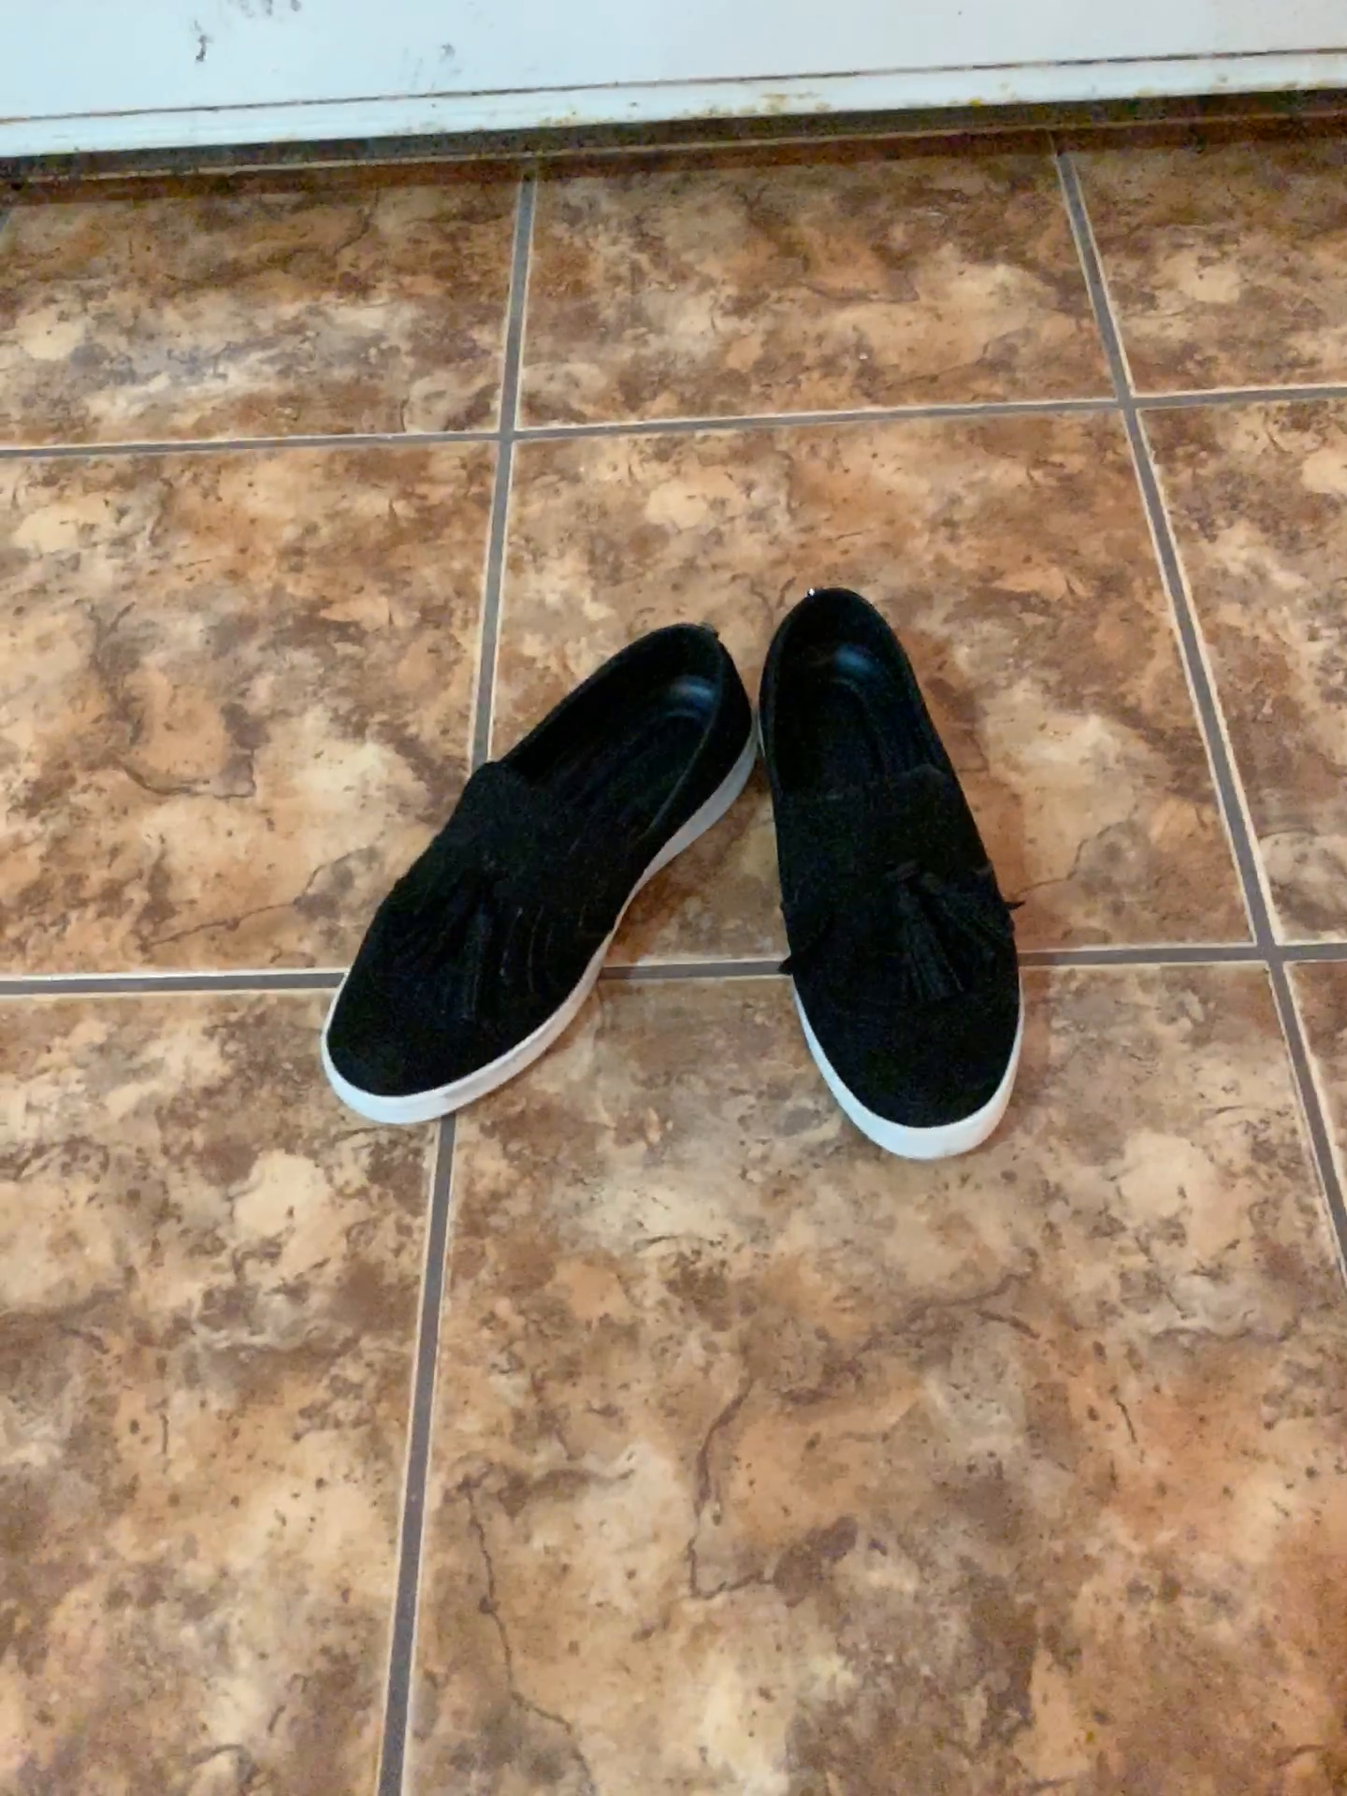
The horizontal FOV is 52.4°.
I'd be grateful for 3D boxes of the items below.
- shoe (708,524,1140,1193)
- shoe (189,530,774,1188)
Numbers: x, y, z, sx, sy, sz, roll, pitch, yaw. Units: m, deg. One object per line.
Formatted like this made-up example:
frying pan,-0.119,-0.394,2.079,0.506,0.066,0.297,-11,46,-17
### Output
shoe,0.087,-0.023,0.557,0.097,0.094,0.250,-10,58,-3
shoe,-0.063,-0.023,0.566,0.097,0.094,0.250,27,63,19
